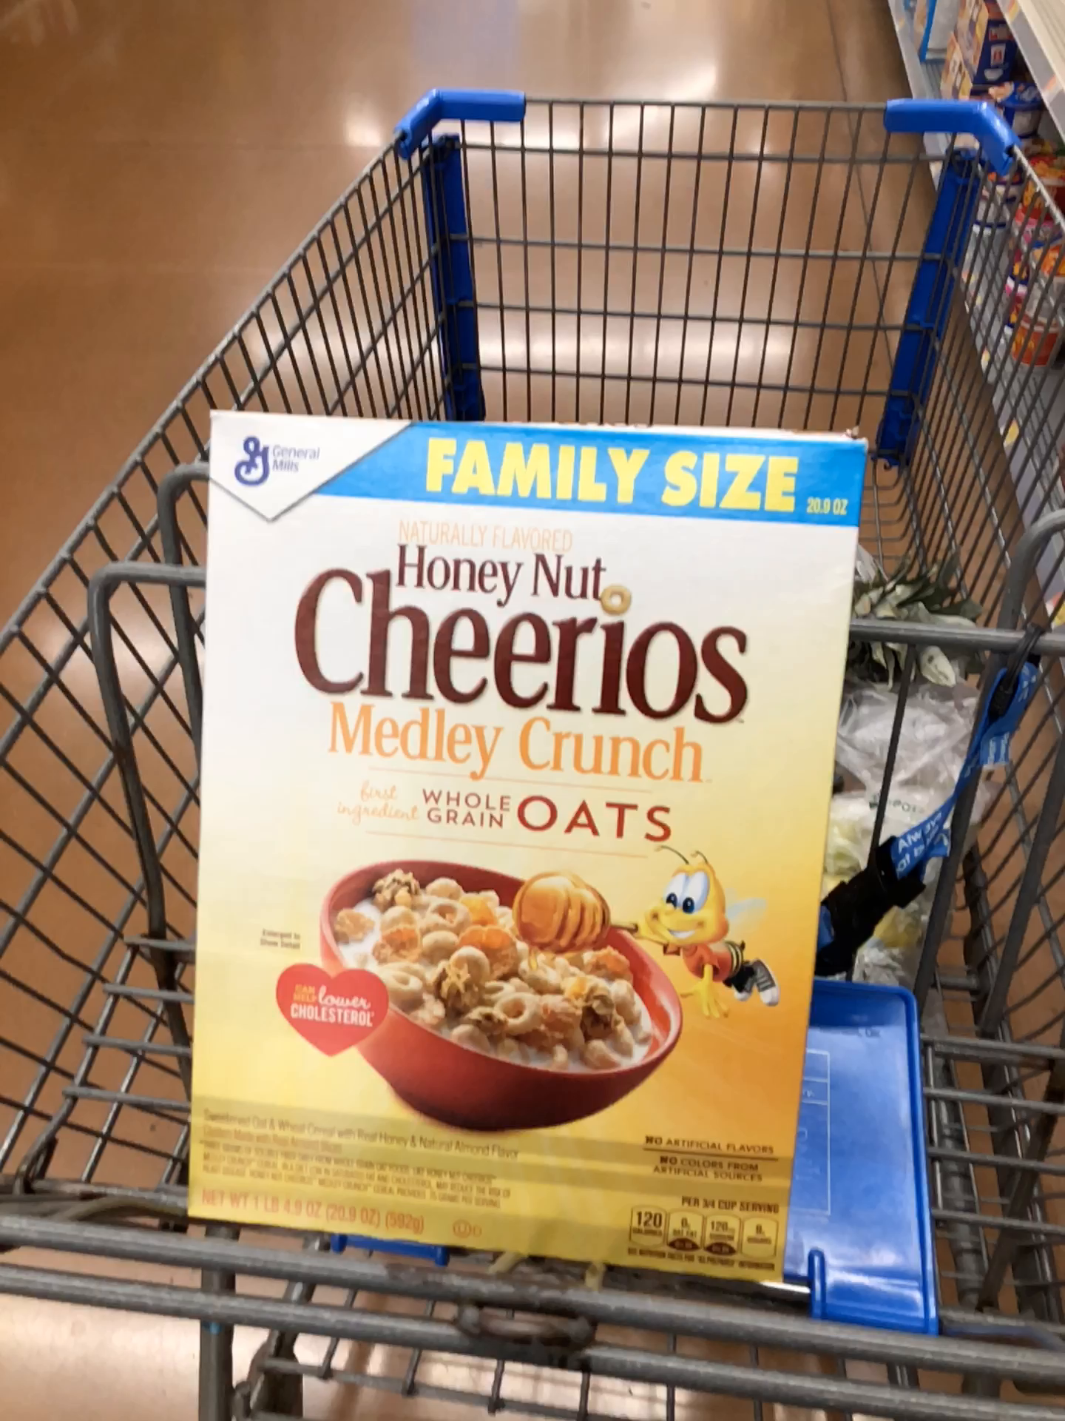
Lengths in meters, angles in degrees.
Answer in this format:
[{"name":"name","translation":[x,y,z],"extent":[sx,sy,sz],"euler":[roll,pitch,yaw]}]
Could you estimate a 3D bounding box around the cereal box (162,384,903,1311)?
[{"name":"cereal box","translation":[-0.006,0.048,0.456],"extent":[0.250,0.320,0.070],"euler":[4,6,6]}]
